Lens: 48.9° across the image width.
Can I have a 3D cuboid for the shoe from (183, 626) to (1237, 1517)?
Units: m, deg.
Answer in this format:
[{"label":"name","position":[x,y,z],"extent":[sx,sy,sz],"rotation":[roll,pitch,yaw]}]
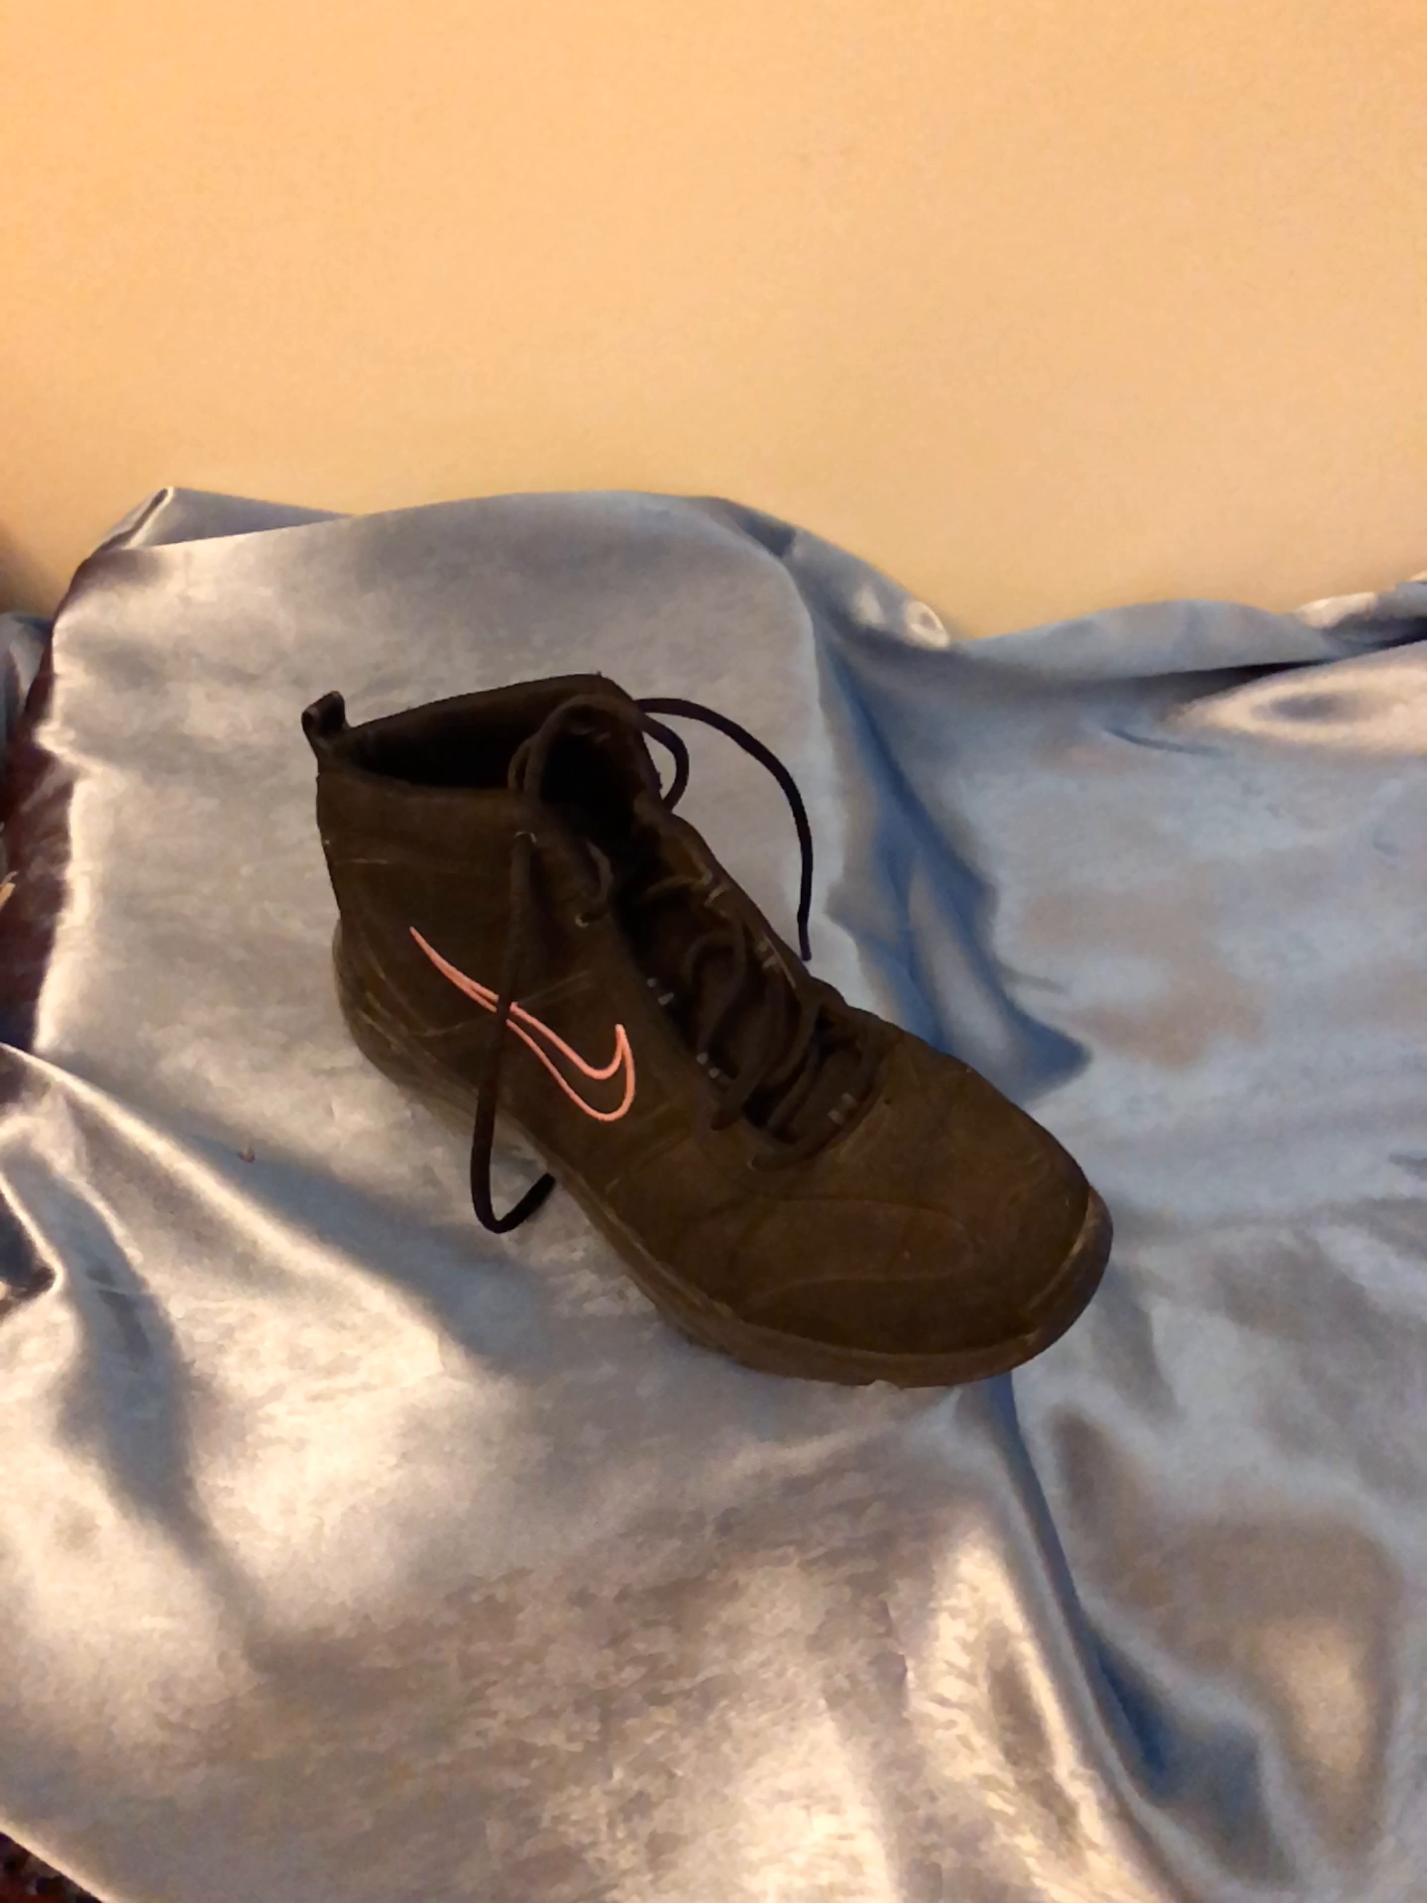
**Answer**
[{"label":"shoe","position":[-0.008,0.021,0.442],"extent":[0.261,0.099,0.108],"rotation":[28,55,25]}]
